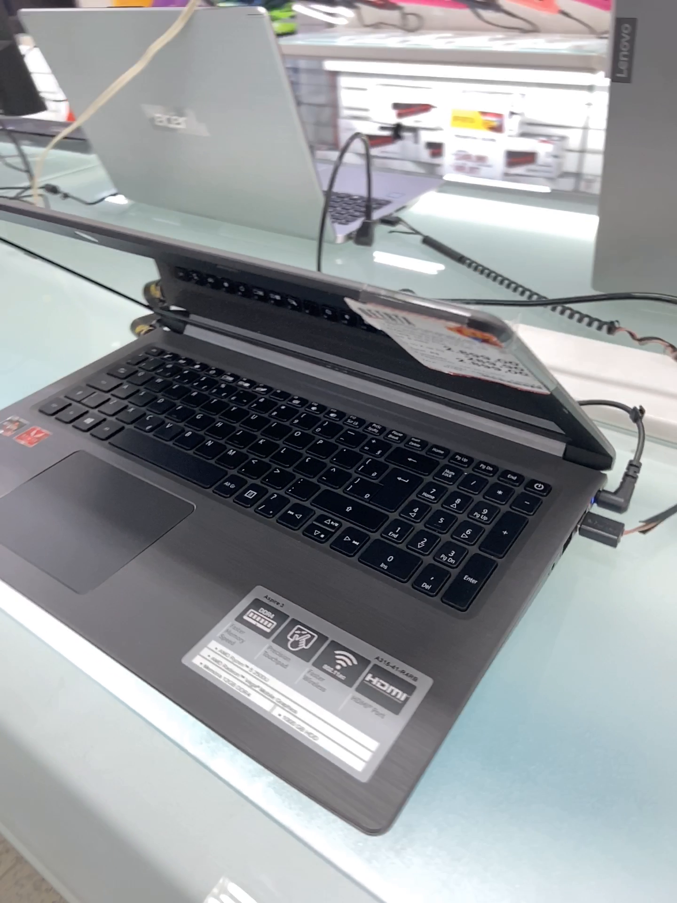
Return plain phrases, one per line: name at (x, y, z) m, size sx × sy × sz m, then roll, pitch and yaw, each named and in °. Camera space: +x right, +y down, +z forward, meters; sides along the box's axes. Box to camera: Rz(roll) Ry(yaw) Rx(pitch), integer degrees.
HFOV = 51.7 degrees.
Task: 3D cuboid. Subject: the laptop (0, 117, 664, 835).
laptop at (-0.066, -0.046, 0.342) m, size 0.343 × 0.155 × 0.221 m, roll 20°, pitch 42°, yaw 30°
